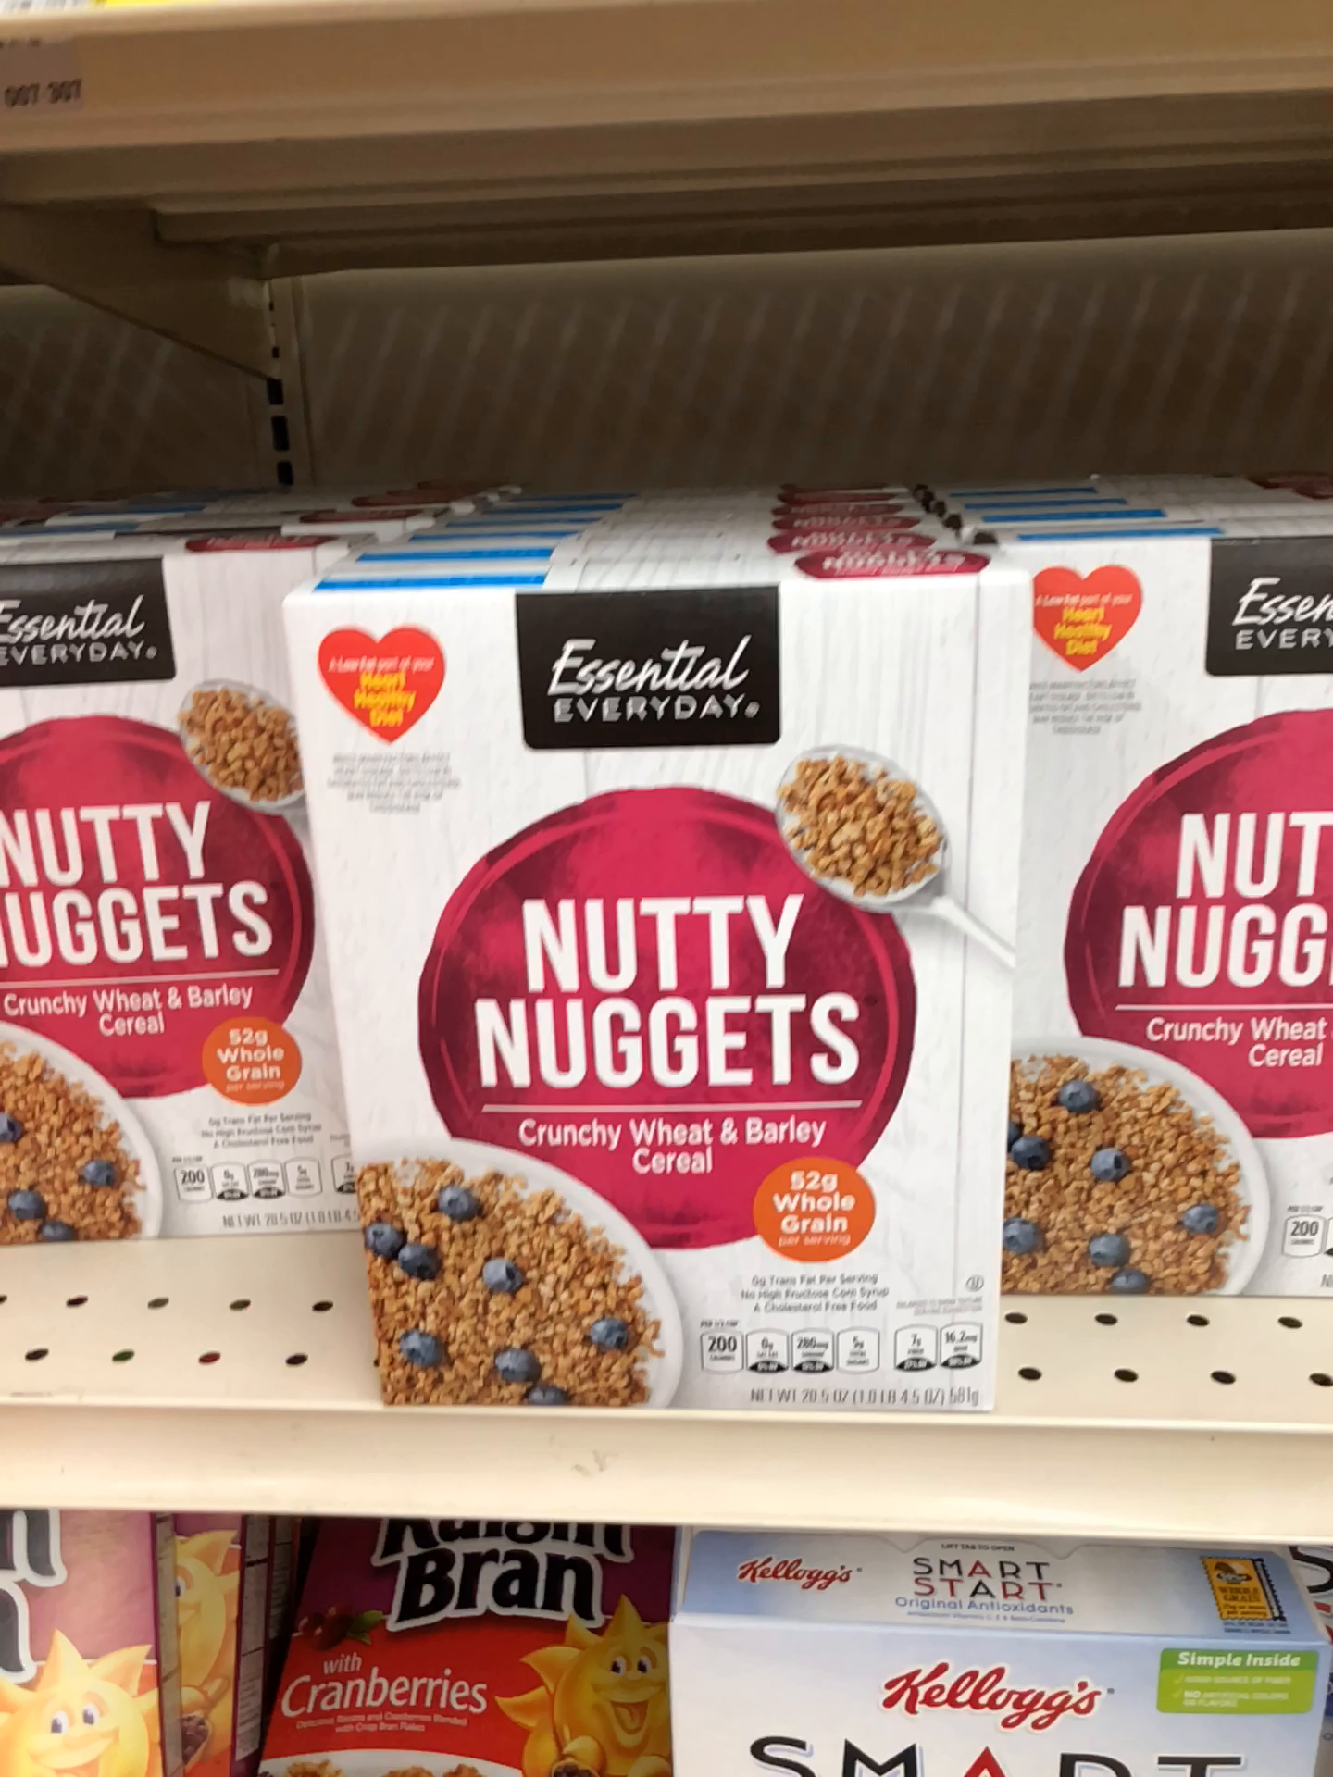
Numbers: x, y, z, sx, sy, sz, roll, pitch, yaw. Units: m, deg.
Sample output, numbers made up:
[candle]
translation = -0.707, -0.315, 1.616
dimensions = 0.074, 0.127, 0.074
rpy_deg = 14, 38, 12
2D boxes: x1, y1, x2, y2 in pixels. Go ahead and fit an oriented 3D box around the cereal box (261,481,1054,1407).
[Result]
[cereal box]
translation = 0.002, 0.020, 0.377
dimensions = 0.170, 0.229, 0.050
rpy_deg = -1, 19, 4
